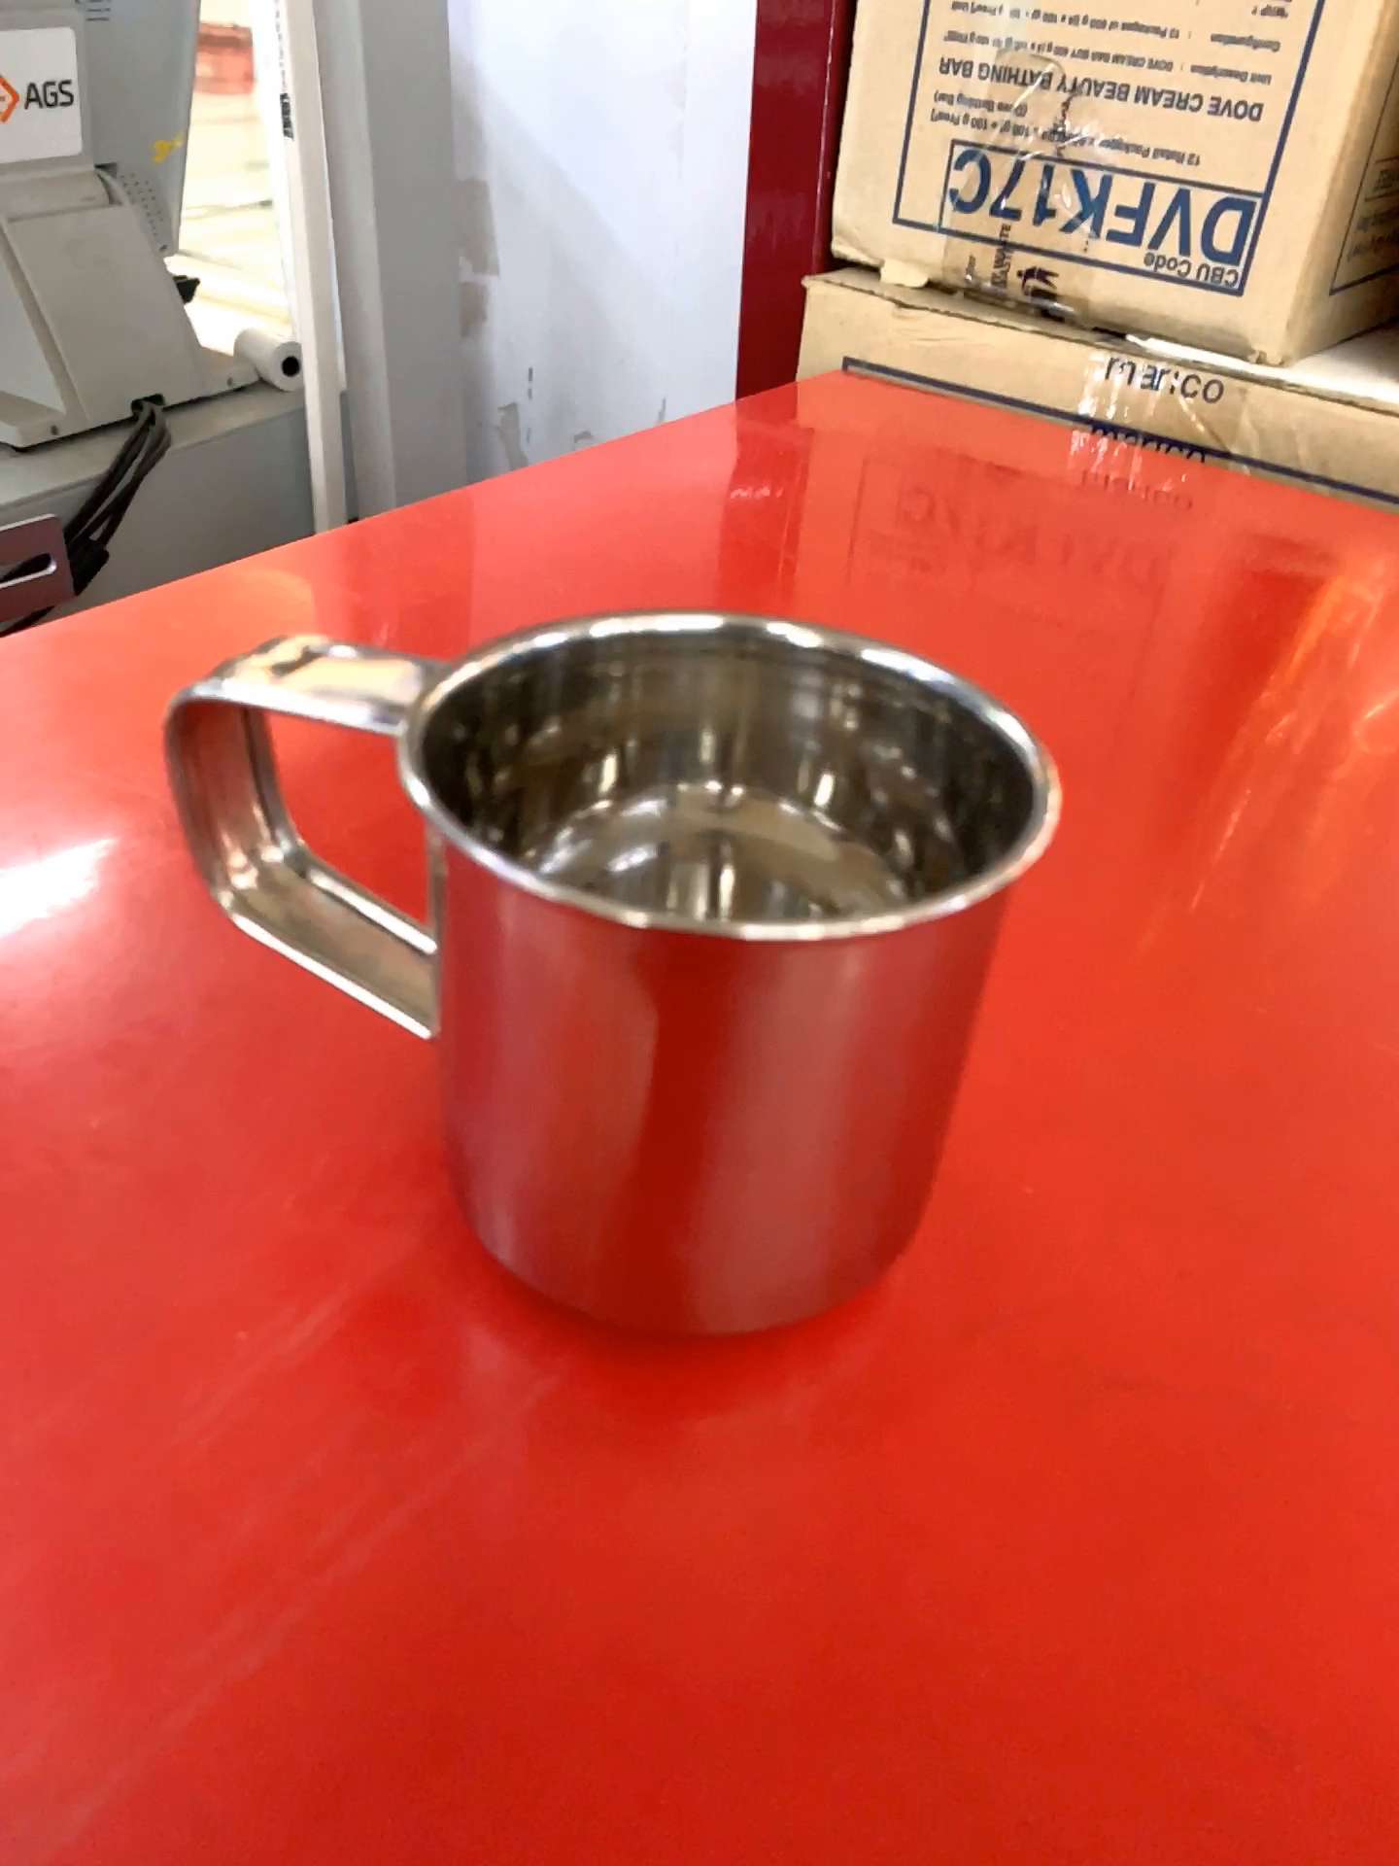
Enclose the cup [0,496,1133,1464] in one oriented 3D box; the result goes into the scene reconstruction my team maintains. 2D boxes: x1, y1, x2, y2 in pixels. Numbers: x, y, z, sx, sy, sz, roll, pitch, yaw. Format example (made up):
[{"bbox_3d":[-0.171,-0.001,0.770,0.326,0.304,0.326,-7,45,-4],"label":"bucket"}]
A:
[{"bbox_3d":[-0.012,-0.003,0.187,0.109,0.065,0.080,16,37,17],"label":"cup"}]
